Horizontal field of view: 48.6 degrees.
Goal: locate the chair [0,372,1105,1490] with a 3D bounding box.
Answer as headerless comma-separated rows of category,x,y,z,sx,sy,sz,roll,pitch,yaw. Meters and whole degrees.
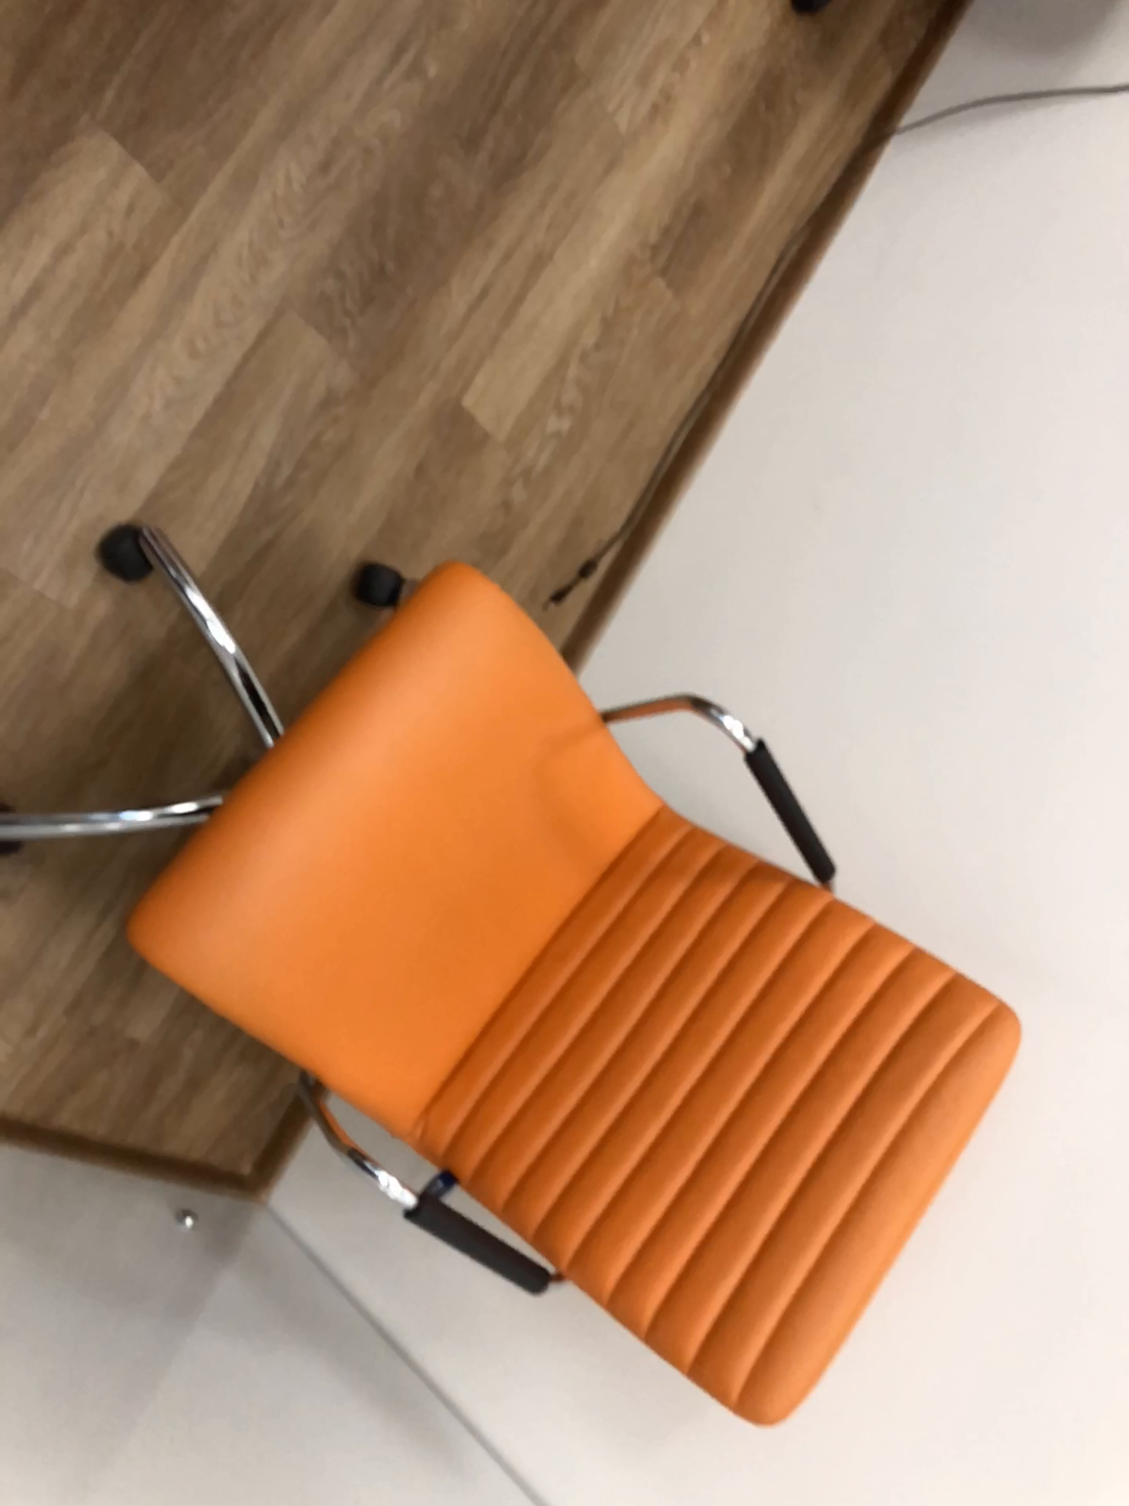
chair,-0.090,0.119,1.275,0.621,0.895,0.663,-55,136,-12
